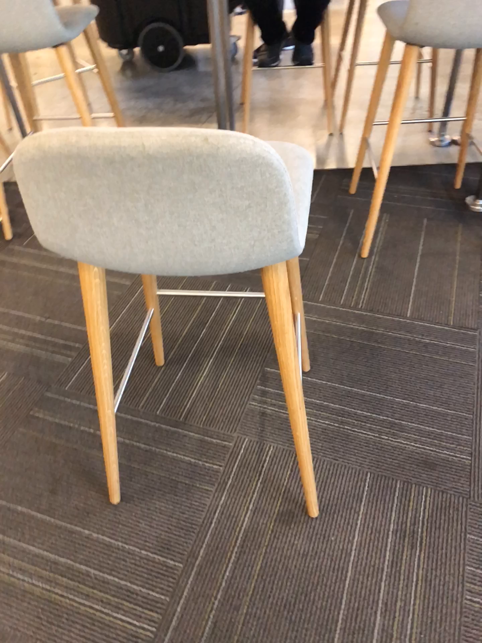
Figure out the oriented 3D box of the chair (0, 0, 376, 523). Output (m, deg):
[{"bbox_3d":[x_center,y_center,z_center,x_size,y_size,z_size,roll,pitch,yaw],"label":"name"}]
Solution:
[{"bbox_3d":[-0.088,-0.090,1.124,0.570,0.946,0.562,1,42,6],"label":"chair"}]
